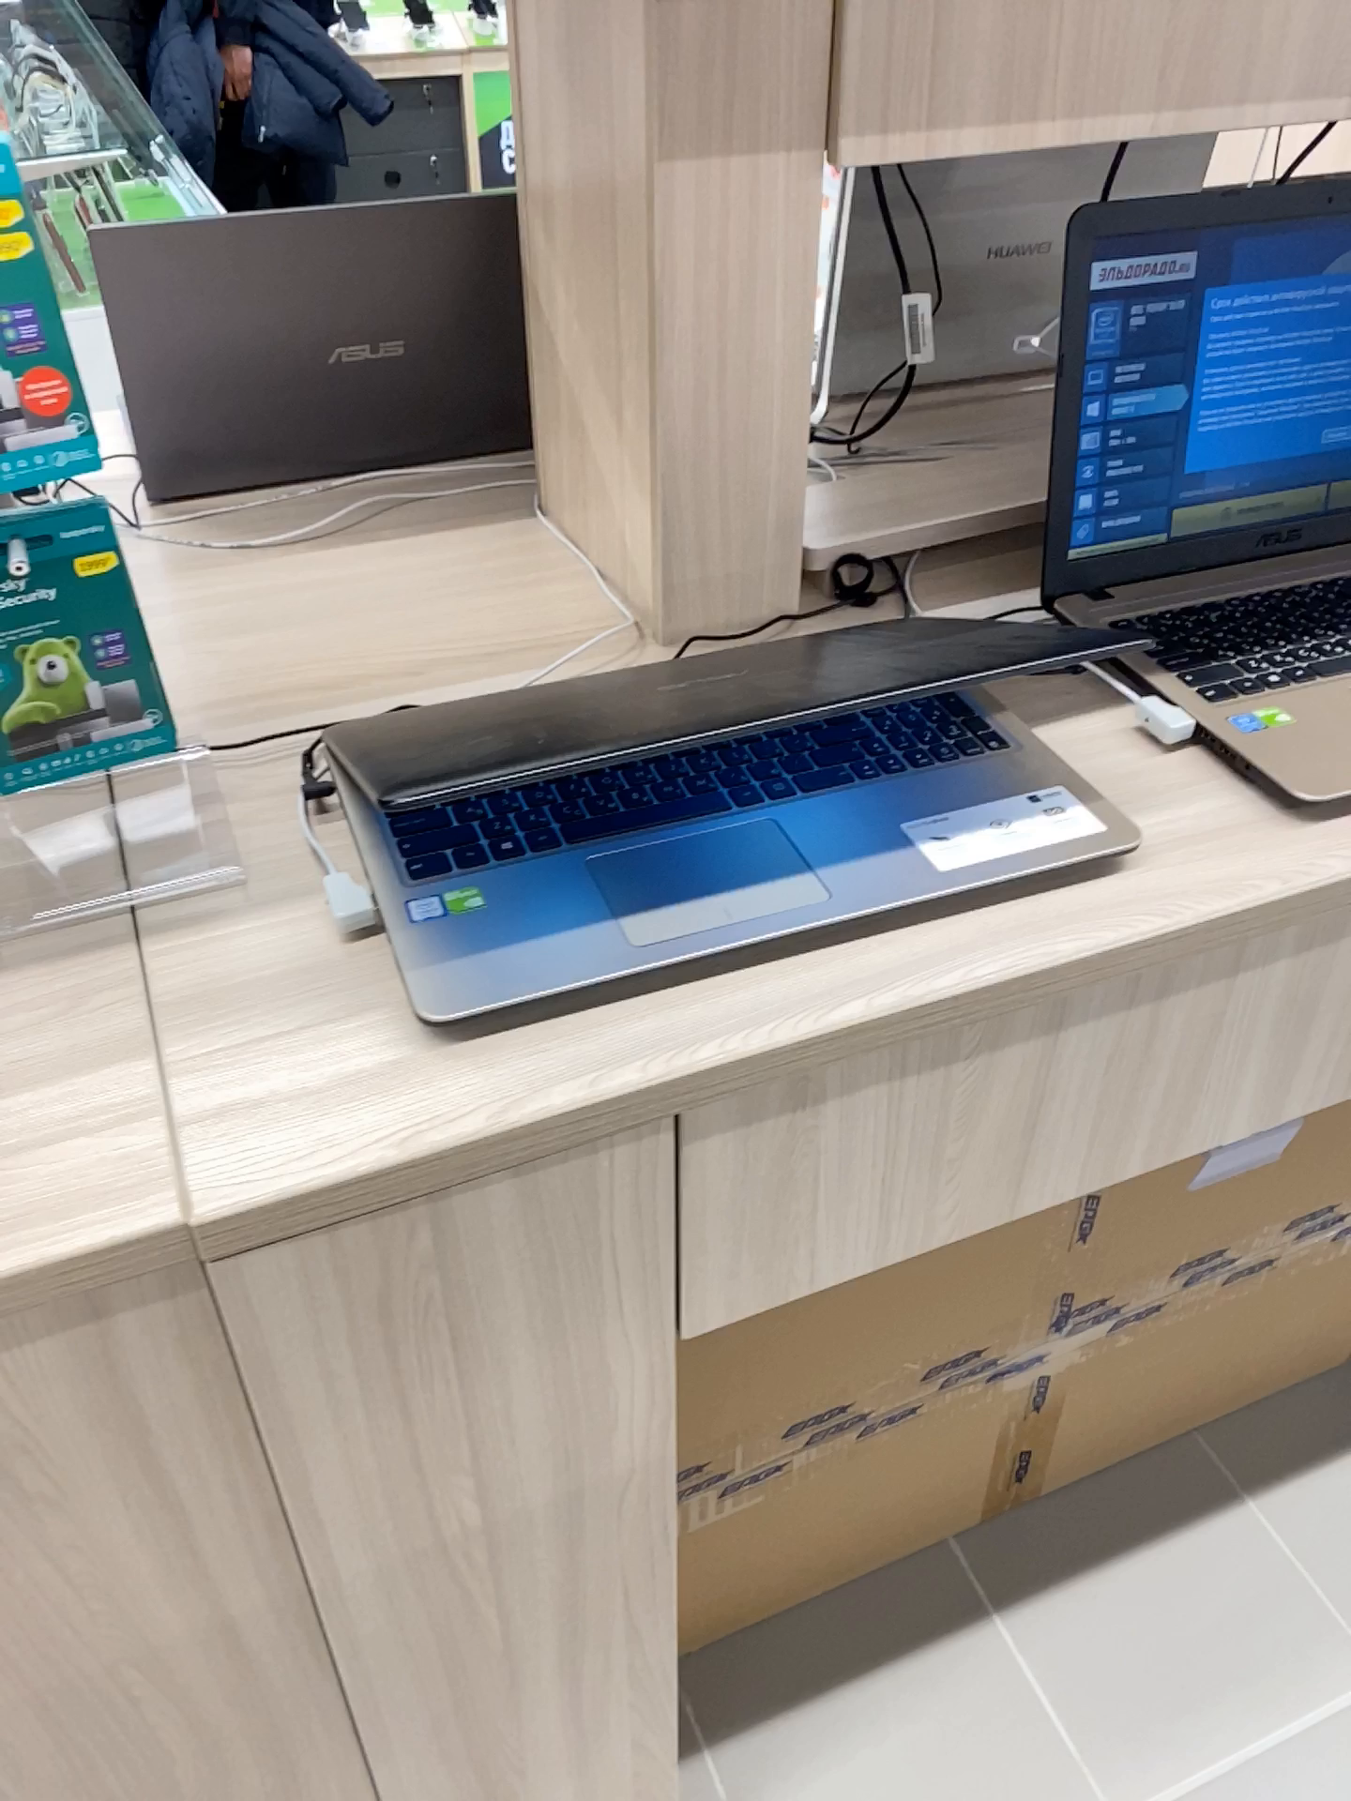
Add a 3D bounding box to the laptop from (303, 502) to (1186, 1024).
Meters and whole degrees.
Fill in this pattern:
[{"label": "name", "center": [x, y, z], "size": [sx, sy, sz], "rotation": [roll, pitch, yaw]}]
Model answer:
[{"label": "laptop", "center": [0.024, -0.094, 0.722], "size": [0.382, 0.094, 0.241], "rotation": [-13, 40, -17]}]
